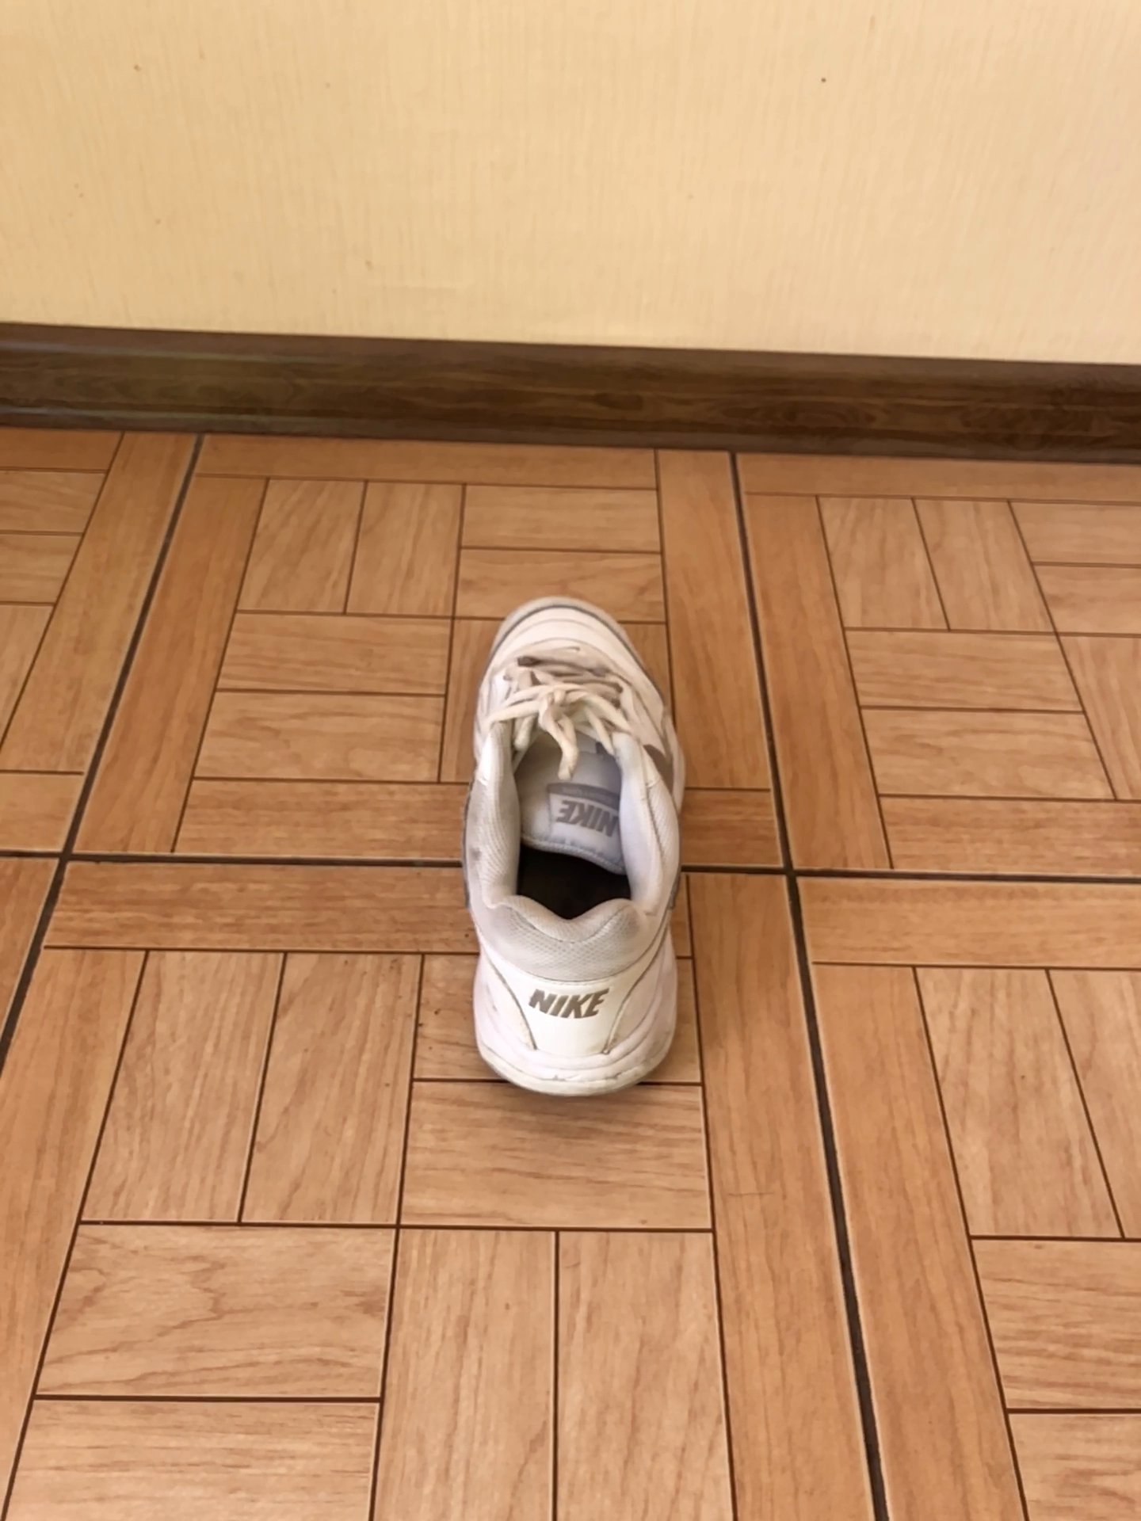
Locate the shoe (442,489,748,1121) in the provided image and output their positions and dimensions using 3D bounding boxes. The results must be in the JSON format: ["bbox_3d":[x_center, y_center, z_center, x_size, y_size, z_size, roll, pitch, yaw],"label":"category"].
[{"bbox_3d":[0.005,0.008,0.537,0.100,0.100,0.261,1,49,-2],"label":"shoe"}]
